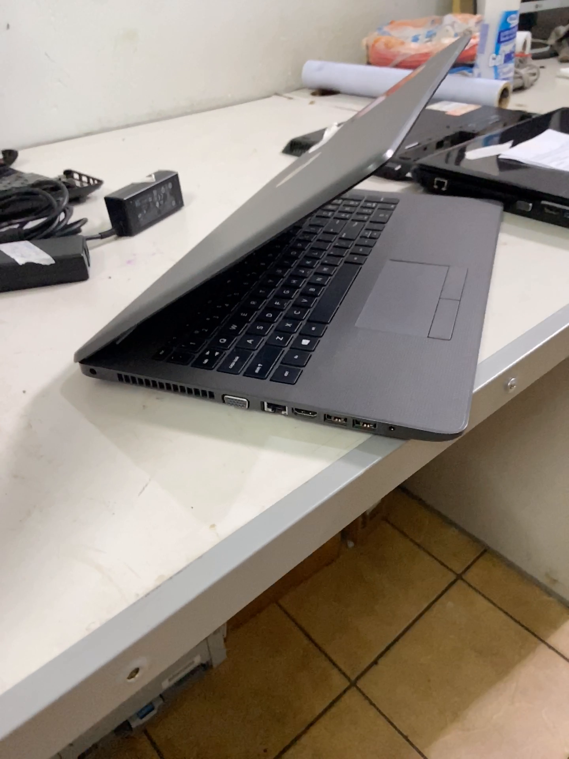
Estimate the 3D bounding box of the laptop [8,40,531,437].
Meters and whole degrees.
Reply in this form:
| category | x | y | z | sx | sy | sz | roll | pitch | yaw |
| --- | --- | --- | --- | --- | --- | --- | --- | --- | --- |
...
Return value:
| category | x | y | z | sx | sy | sz | roll | pitch | yaw |
| --- | --- | --- | --- | --- | --- | --- | --- | --- | --- |
| laptop | 0.041 | -0.156 | 0.454 | 0.247 | 0.141 | 0.381 | 10 | 38 | 17 |
